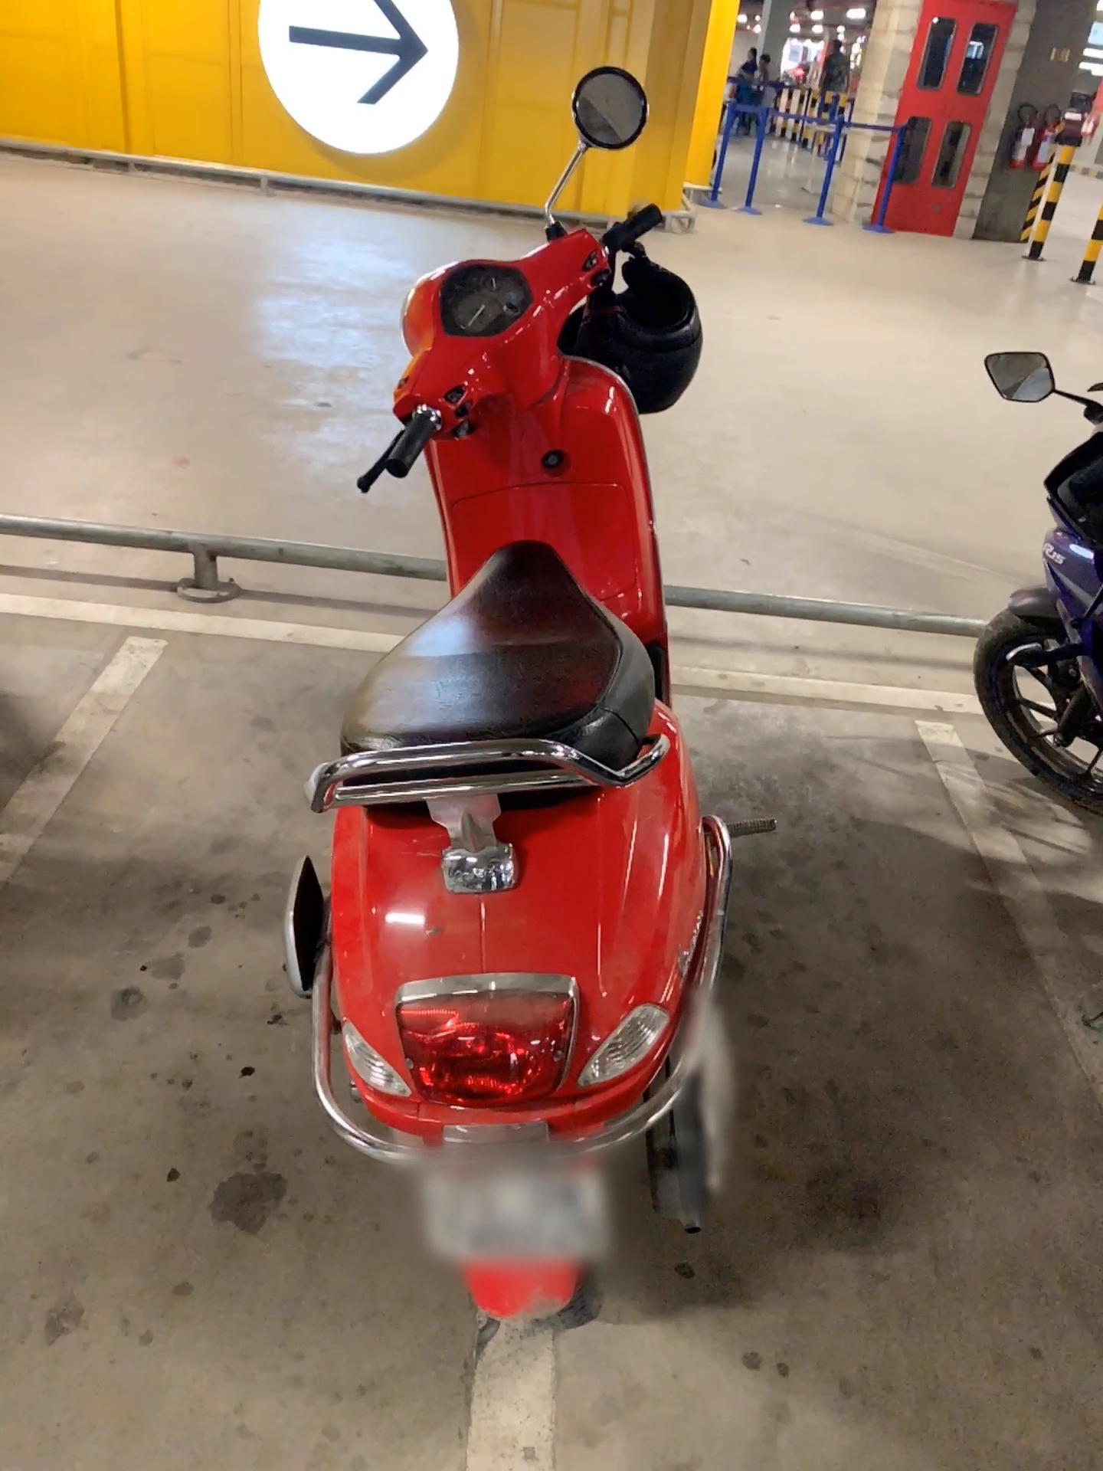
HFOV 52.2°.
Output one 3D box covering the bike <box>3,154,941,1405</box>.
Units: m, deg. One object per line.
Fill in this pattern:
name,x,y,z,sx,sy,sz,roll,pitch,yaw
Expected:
bike,-0.183,-0.144,1.785,0.632,1.201,1.688,3,31,-7
